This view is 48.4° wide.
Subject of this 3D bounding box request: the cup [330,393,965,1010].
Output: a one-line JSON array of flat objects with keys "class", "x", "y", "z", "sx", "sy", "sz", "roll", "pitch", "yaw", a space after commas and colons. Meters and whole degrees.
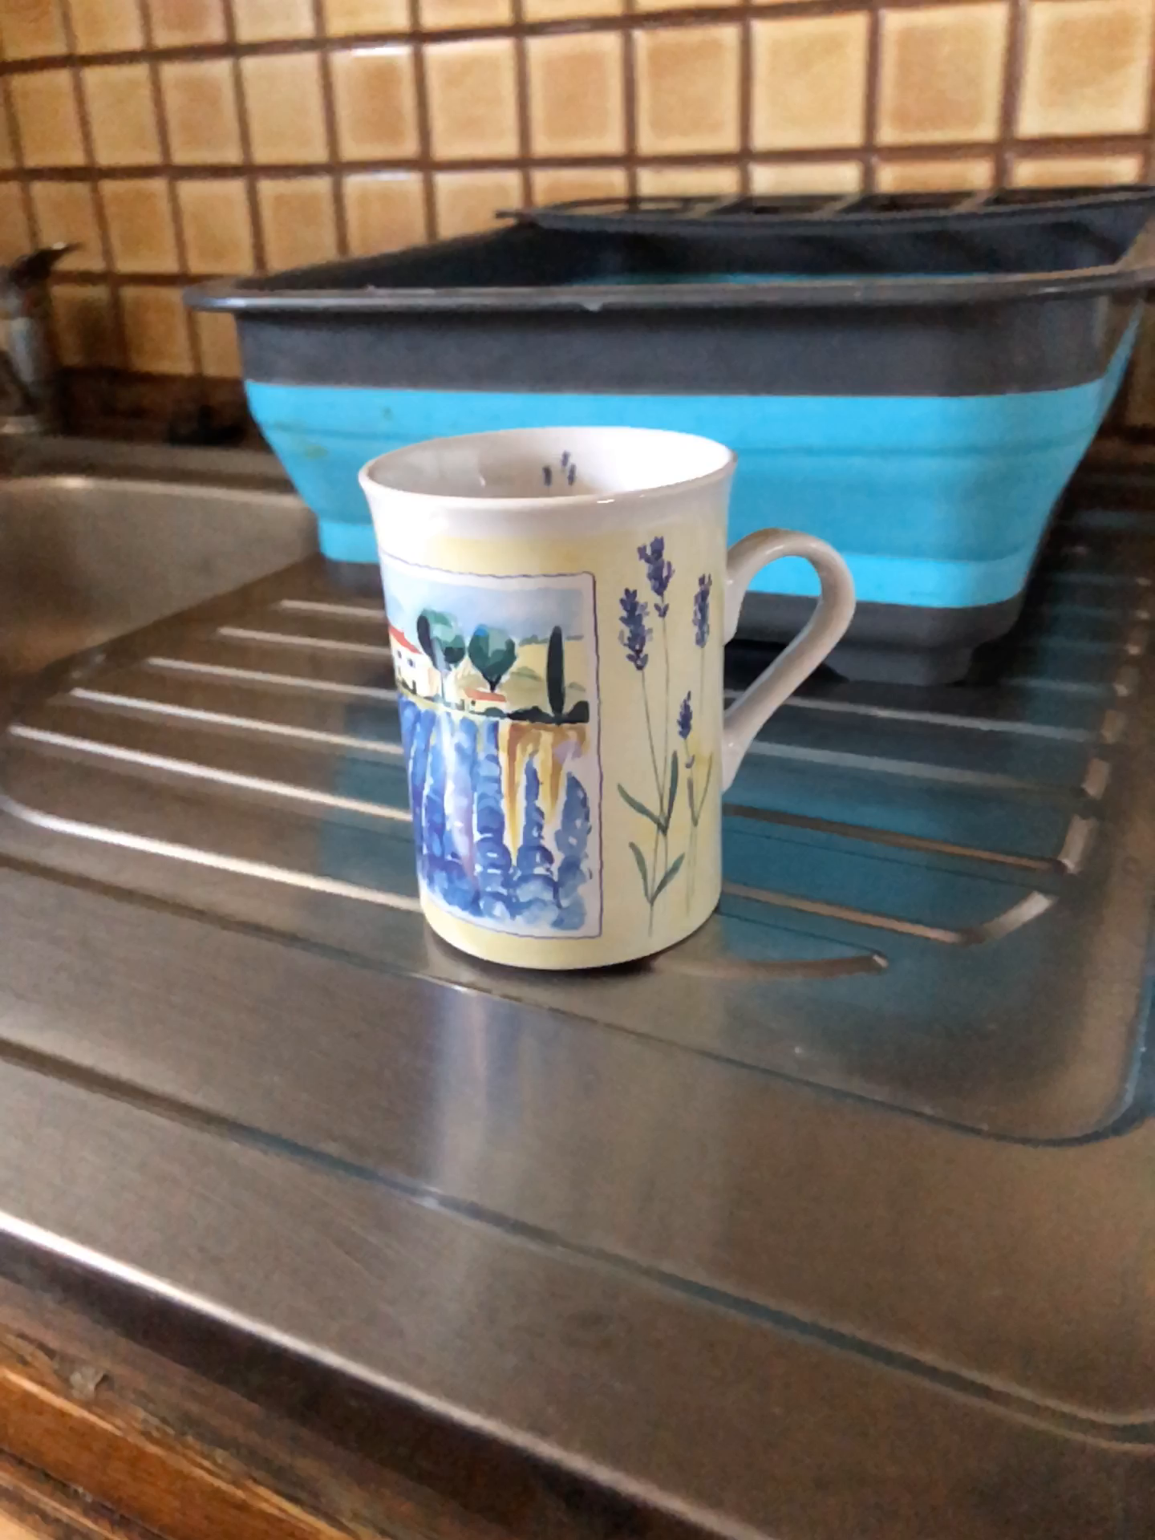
[{"class": "cup", "x": 0.012, "y": -0.020, "z": 0.279, "sx": 0.110, "sy": 0.099, "sz": 0.070, "roll": -10, "pitch": 27, "yaw": -14}]
